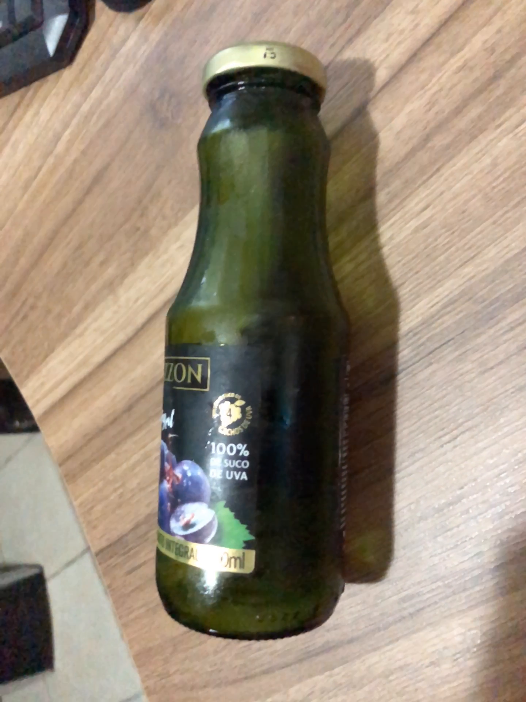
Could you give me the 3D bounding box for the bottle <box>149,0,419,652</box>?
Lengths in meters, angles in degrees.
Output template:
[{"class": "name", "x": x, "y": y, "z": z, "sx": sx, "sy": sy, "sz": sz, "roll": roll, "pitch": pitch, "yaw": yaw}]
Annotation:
[{"class": "bottle", "x": 0.002, "y": -0.017, "z": 0.205, "sx": 0.070, "sy": 0.070, "sz": 0.200, "roll": 179, "pitch": 93, "yaw": -72}]
